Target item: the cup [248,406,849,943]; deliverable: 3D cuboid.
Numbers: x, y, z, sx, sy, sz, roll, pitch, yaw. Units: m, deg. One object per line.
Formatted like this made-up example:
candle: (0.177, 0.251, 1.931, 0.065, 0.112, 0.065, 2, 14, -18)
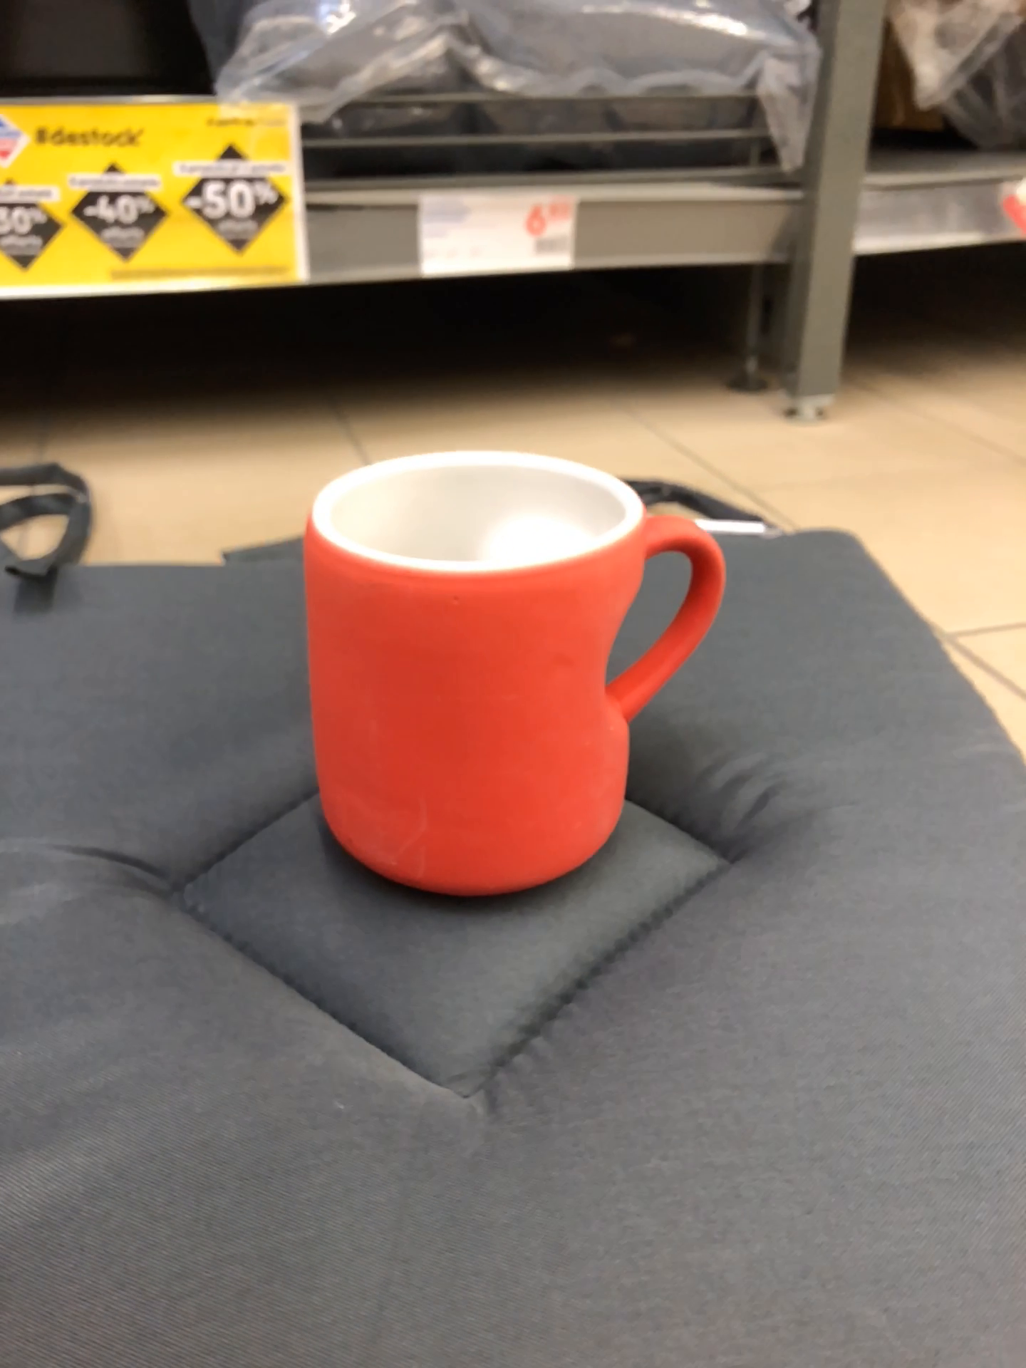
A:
cup: (0.004, -0.010, 0.297, 0.120, 0.089, 0.090, -10, 30, -17)
